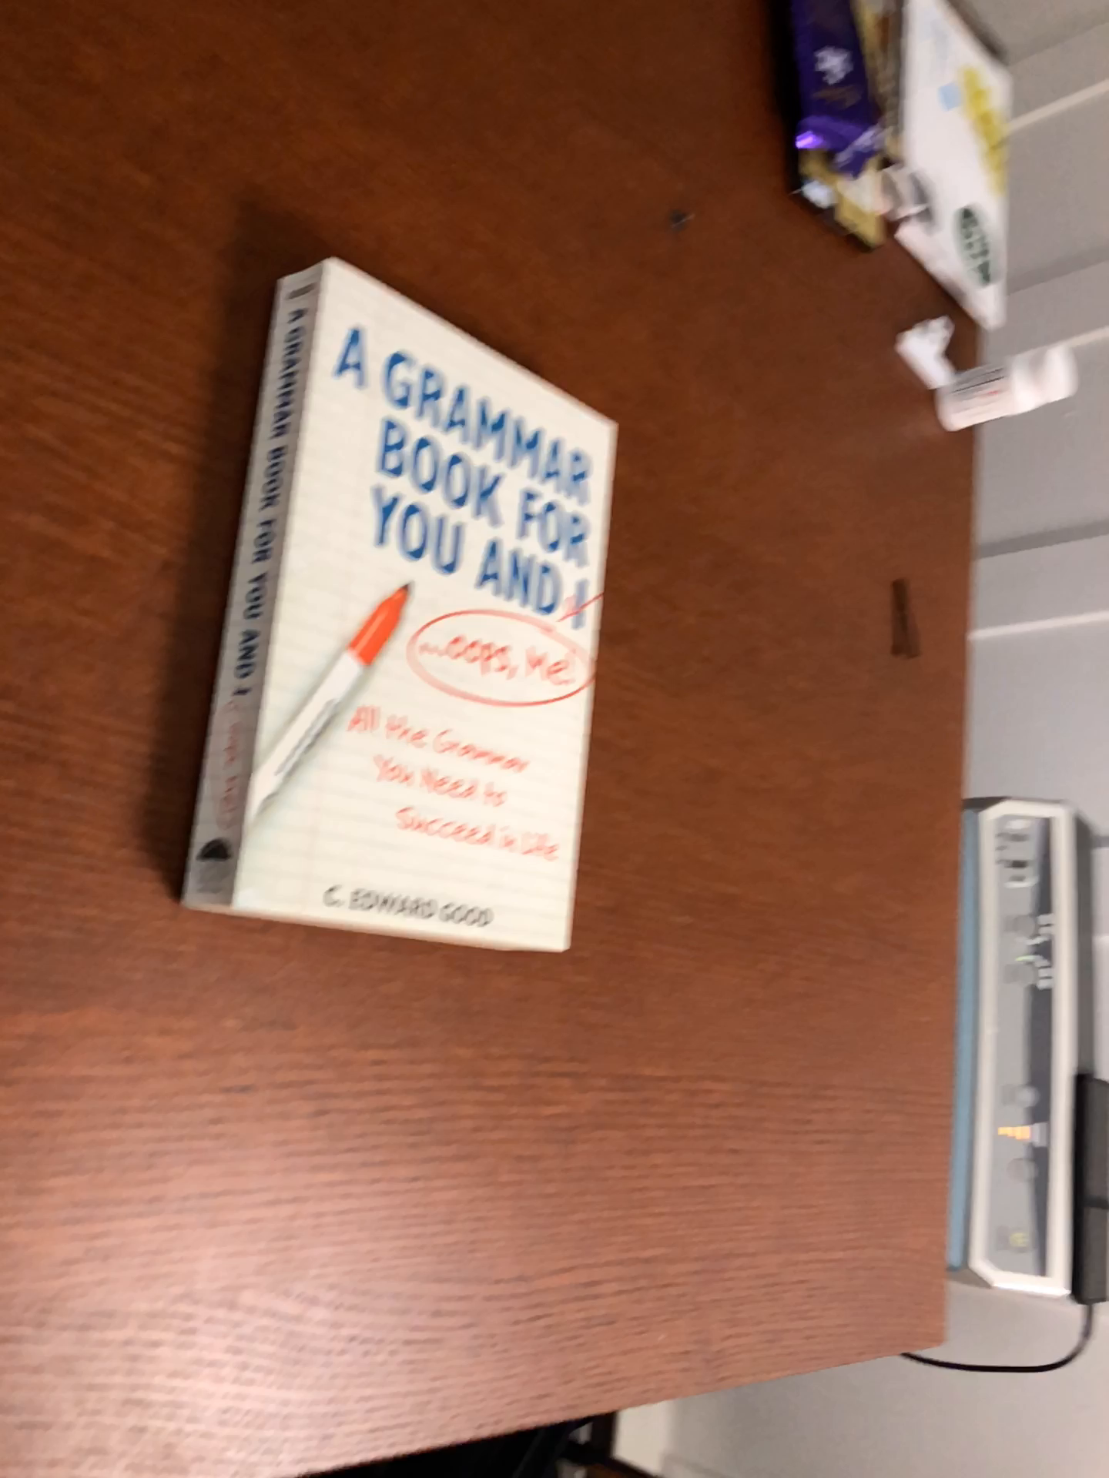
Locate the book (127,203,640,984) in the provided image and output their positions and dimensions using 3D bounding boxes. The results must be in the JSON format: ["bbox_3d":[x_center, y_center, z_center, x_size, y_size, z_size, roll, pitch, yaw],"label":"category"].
[{"bbox_3d":[-0.048,-0.040,0.450,0.171,0.040,0.240,18,72,-44],"label":"book"}]
